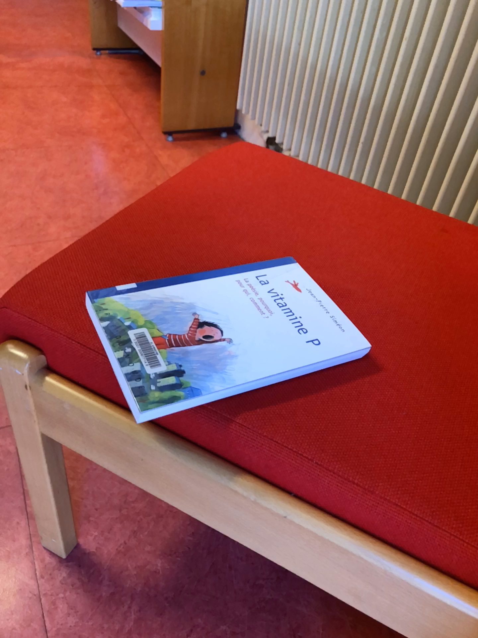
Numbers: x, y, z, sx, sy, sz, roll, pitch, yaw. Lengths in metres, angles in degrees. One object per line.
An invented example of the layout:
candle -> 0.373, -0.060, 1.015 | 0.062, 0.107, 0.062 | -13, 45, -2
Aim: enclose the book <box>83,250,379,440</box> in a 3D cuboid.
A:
book -> -0.010, 0.008, 0.463 | 0.216, 0.027, 0.148 | -13, 46, -23
